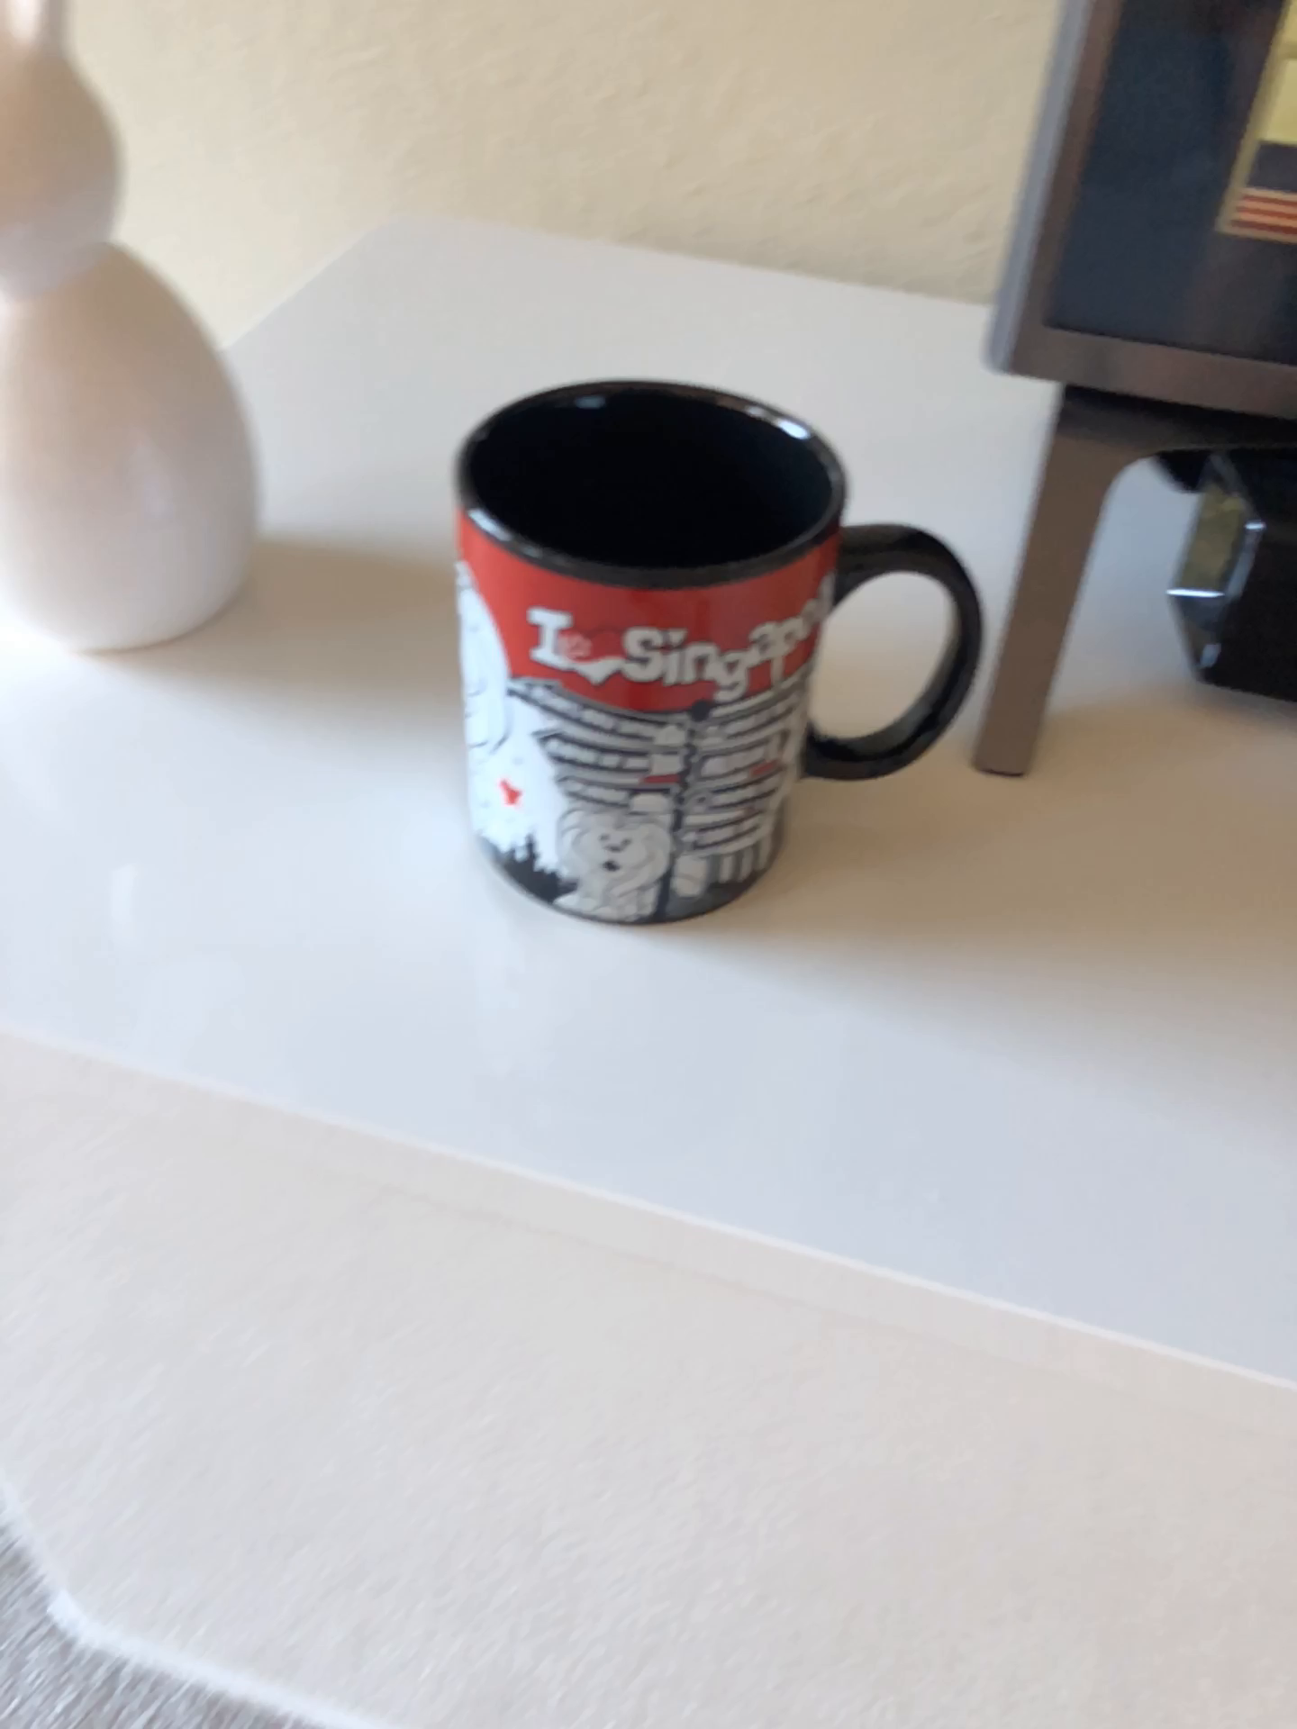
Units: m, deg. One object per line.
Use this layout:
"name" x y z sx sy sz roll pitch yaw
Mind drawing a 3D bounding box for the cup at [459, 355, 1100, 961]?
"cup" 0.019 -0.047 0.331 0.120 0.109 0.080 -2 43 -7
